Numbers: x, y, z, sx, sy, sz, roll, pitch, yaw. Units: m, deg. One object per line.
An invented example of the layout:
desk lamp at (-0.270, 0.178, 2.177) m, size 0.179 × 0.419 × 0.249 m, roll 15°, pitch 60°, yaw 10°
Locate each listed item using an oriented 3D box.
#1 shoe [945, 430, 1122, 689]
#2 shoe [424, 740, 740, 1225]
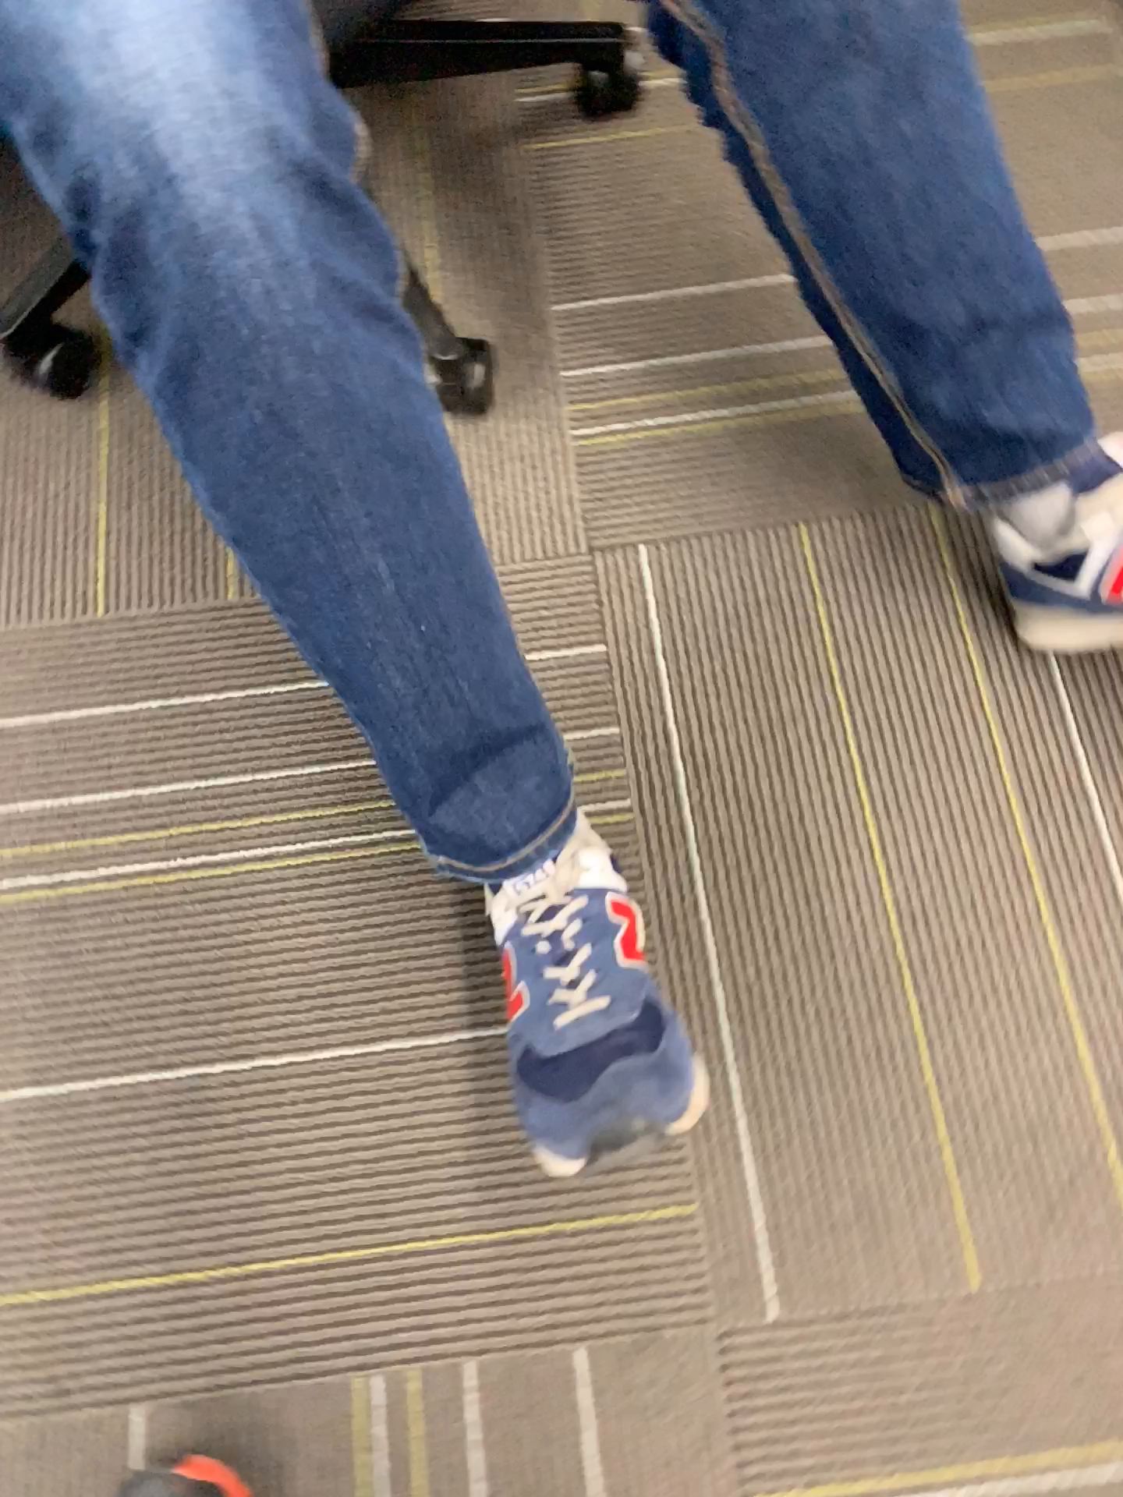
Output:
shoe at (0.431, -0.133, 0.787) m, size 0.114 × 0.303 × 0.095 m, roll -43°, pitch 114°, yaw -12°
shoe at (-0.001, 0.130, 0.746) m, size 0.120 × 0.297 × 0.135 m, roll -28°, pitch 111°, yaw 5°
